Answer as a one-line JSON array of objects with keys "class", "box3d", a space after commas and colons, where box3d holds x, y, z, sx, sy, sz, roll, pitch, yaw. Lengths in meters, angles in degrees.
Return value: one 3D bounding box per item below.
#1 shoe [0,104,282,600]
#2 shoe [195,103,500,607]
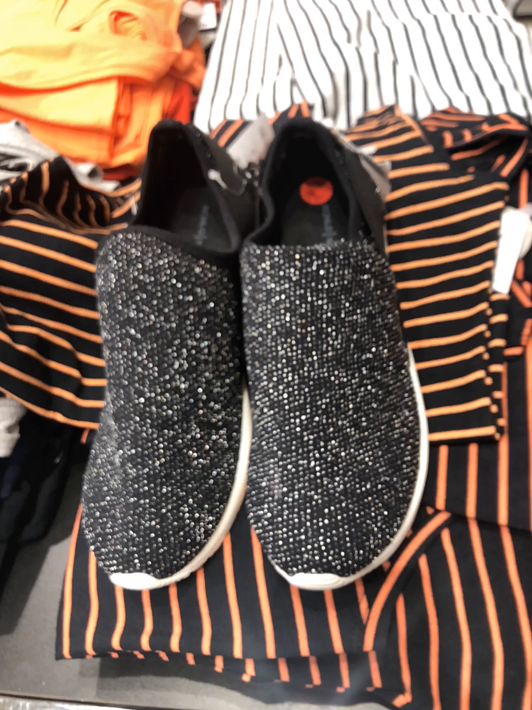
[{"class": "shoe", "box3d": [-0.053, -0.012, 0.320, 0.100, 0.109, 0.241, -1, 53, 8]}, {"class": "shoe", "box3d": [0.036, -0.009, 0.314, 0.100, 0.109, 0.241, -3, 53, 7]}]
